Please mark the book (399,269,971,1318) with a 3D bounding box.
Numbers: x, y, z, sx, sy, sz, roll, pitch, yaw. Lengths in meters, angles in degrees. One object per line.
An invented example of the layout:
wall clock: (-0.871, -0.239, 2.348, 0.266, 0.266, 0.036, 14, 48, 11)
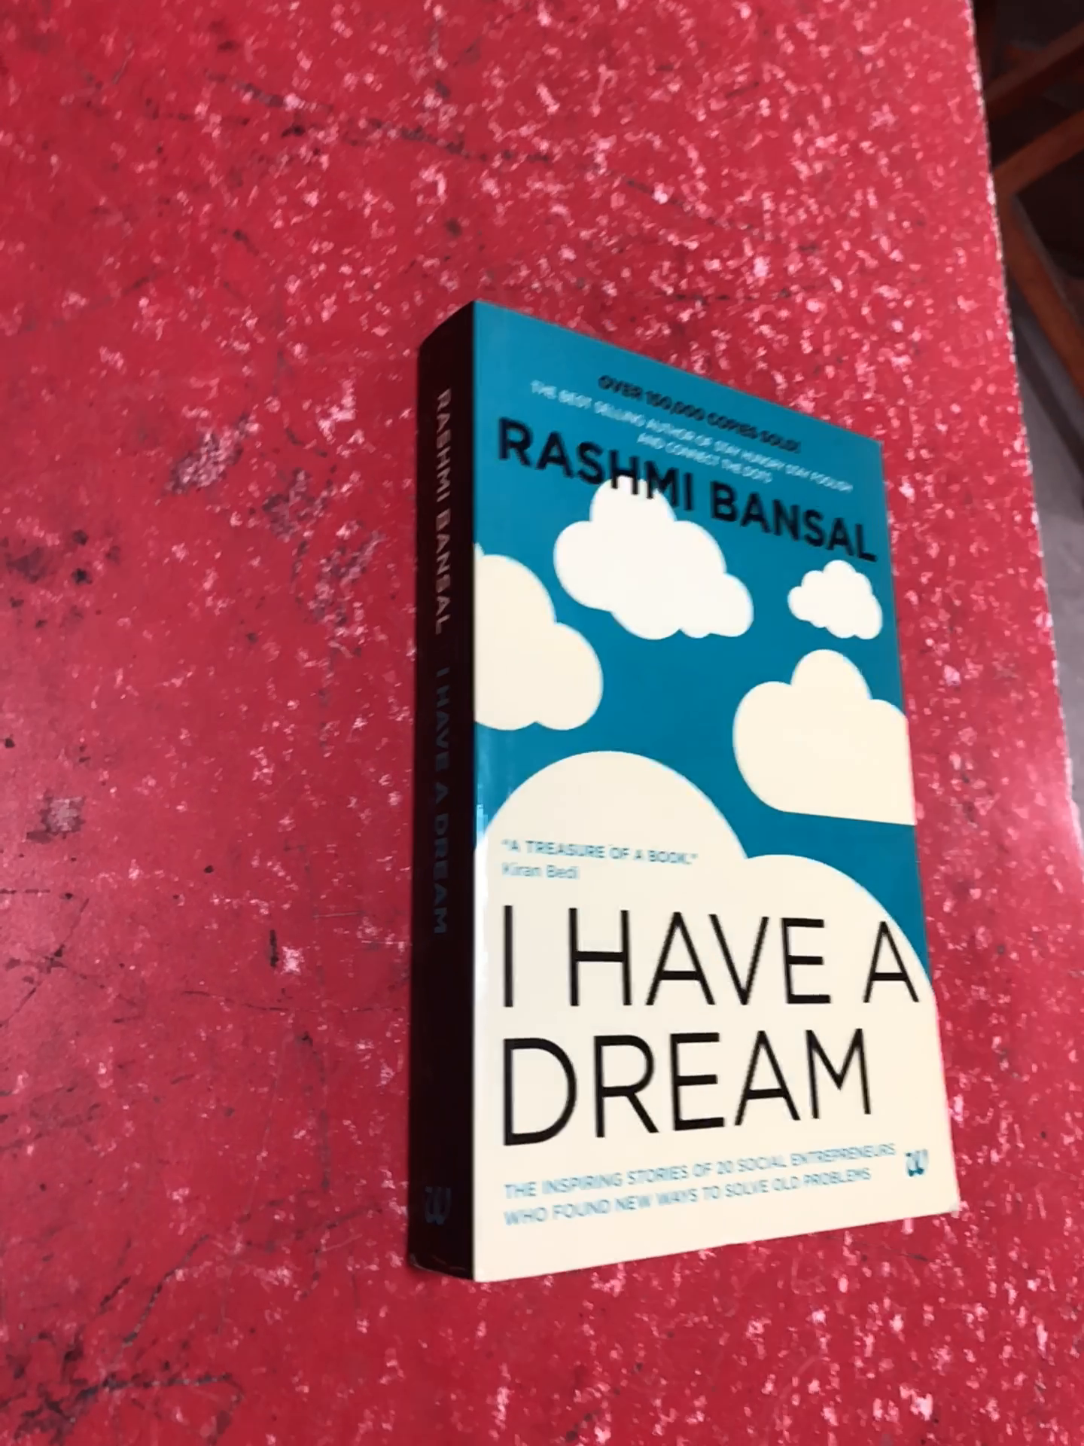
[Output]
book: (0.033, 0.013, 0.276, 0.130, 0.030, 0.200, 7, 74, -33)
